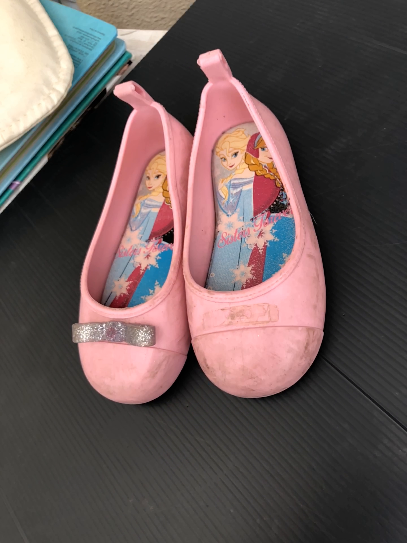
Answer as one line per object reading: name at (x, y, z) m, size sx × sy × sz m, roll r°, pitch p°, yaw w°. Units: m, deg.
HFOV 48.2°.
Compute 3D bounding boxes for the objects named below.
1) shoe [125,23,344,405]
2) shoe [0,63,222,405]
shoe at (0.019, -0.021, 0.220) m, size 0.078 × 0.070 × 0.160 m, roll -6°, pitch 70°, yaw 19°
shoe at (-0.046, -0.017, 0.247) m, size 0.078 × 0.070 × 0.160 m, roll 1°, pitch 72°, yaw 21°
